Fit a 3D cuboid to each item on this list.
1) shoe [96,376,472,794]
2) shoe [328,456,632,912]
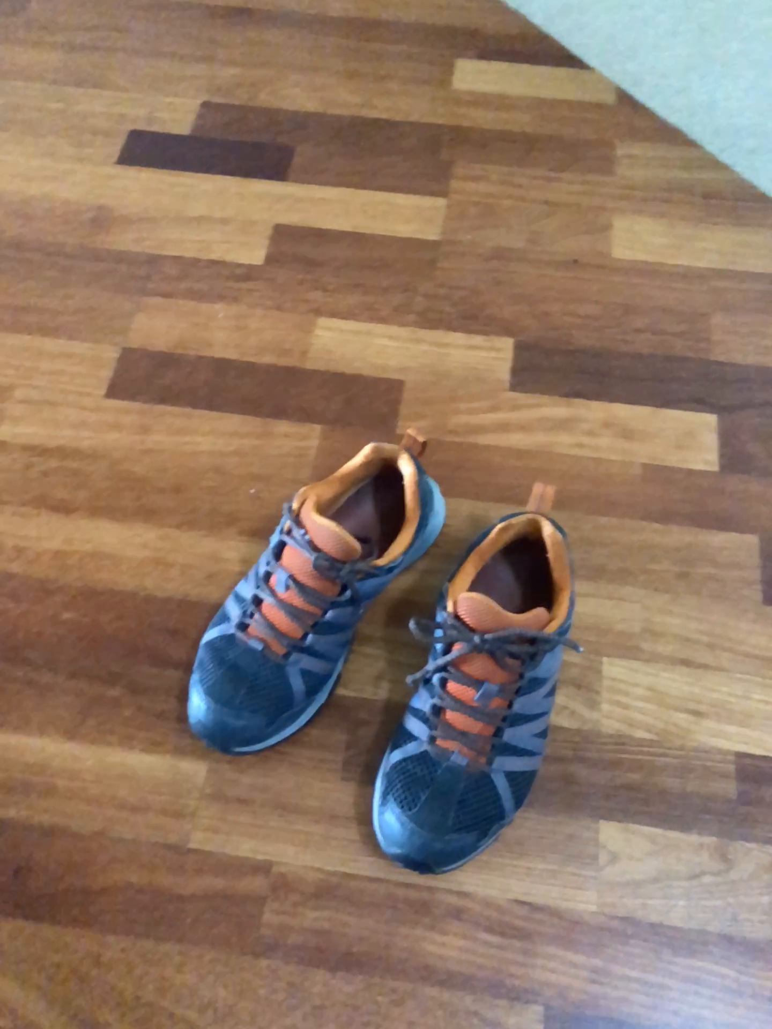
[{"bbox_3d":[-0.063,0.049,0.645,0.113,0.117,0.282,32,66,16],"label":"shoe"},{"bbox_3d":[0.072,0.117,0.613,0.119,0.117,0.279,19,63,10],"label":"shoe"}]
